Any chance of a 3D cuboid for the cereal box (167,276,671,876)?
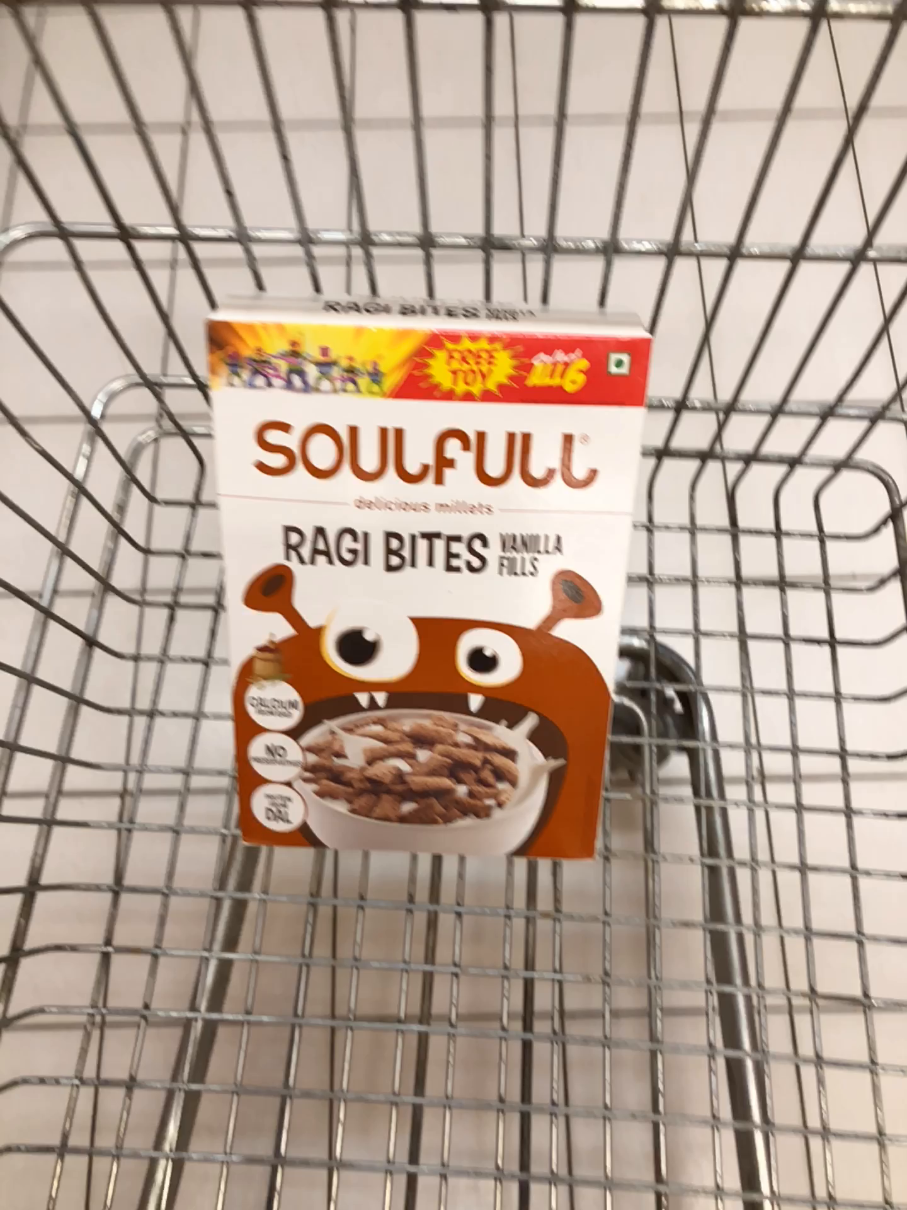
[{"bbox_3d":[-0.017,-0.006,0.444,0.180,0.249,0.070,3,26,0],"label":"cereal box"}]
